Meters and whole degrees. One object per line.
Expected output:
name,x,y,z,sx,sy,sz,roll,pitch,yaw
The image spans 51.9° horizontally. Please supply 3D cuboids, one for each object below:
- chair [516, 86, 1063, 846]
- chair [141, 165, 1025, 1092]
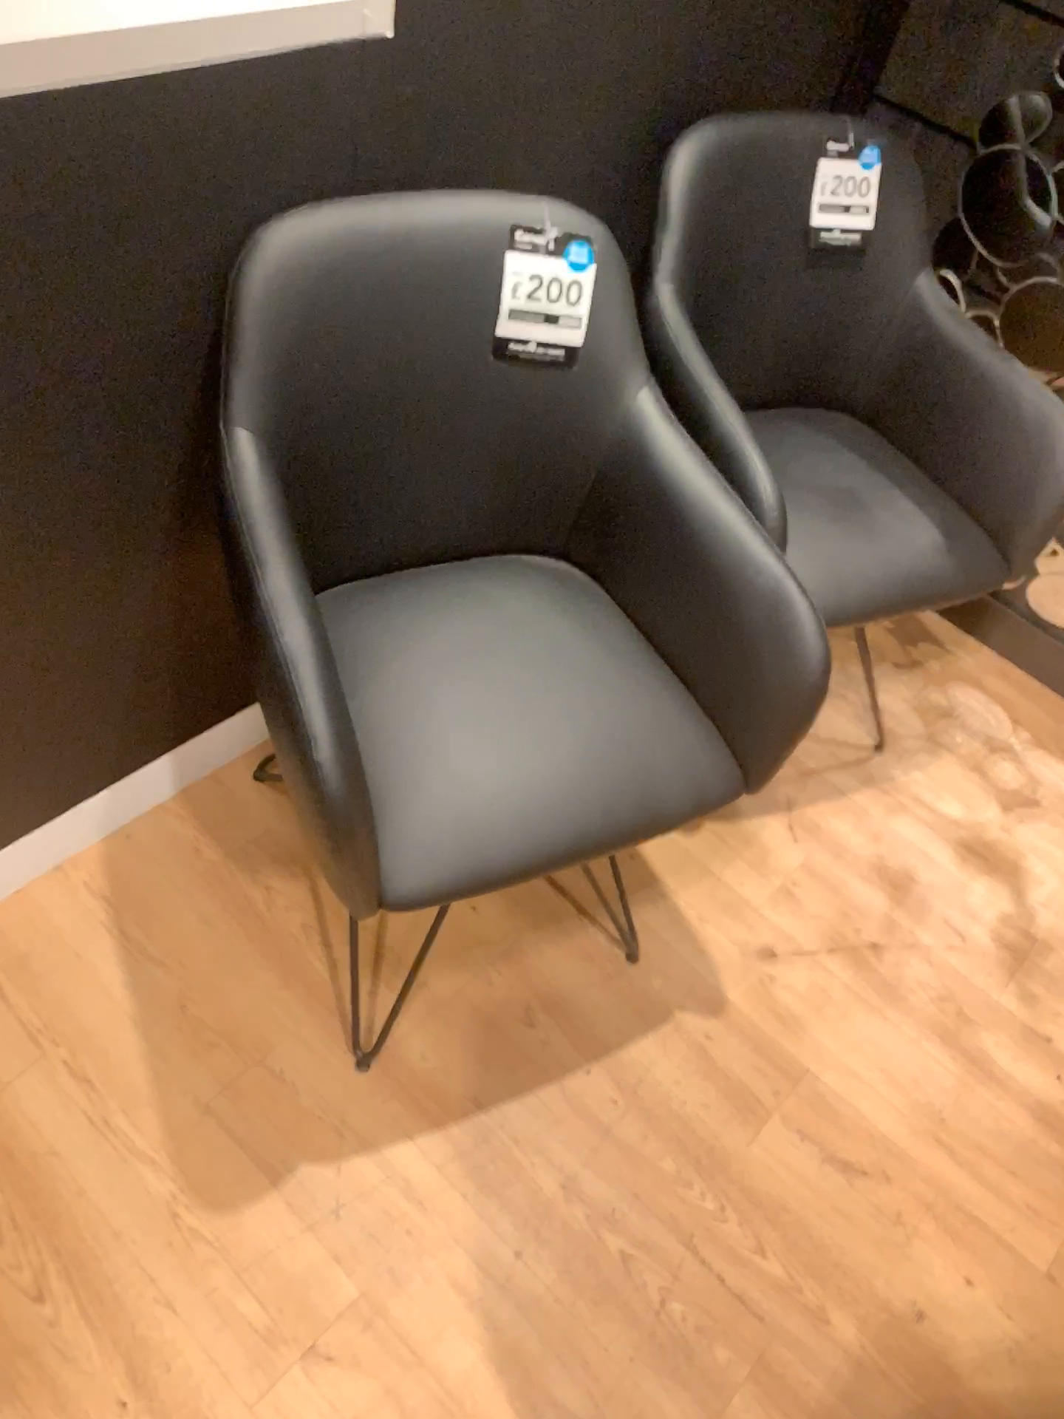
chair,0.426,-0.350,1.627,0.565,0.836,0.595,-17,55,-25
chair,-0.038,-0.091,1.265,0.605,0.777,0.595,-14,54,-23
